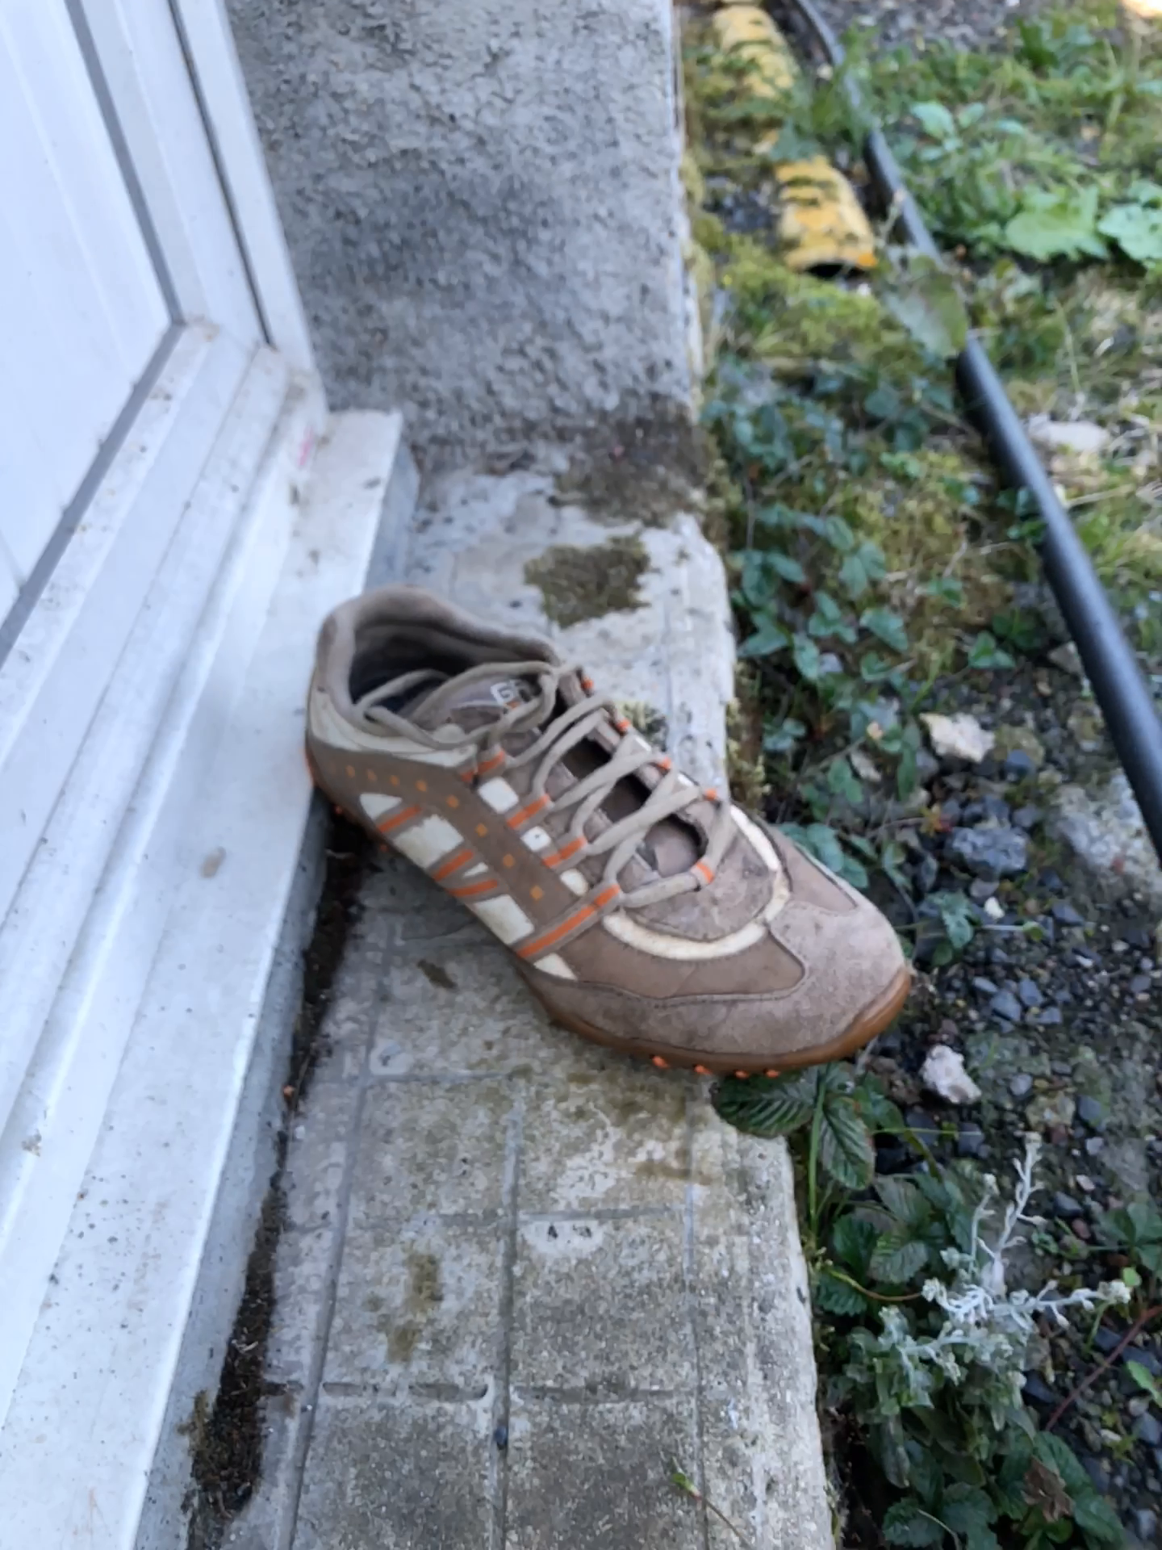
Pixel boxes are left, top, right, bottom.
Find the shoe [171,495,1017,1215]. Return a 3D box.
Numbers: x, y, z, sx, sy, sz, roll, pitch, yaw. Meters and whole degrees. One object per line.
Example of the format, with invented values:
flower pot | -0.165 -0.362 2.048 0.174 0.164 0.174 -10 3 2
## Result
shoe | -0.005 0.010 0.453 0.270 0.100 0.110 29 54 32
